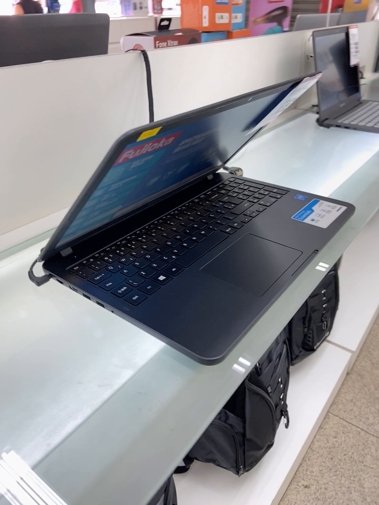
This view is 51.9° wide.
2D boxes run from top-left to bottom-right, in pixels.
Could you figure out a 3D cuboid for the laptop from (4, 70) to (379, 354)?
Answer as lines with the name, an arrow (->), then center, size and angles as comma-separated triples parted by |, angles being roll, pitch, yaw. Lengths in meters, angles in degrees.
laptop -> 0.037, -0.103, 0.477 | 0.245, 0.173, 0.374 | 21, 37, 32
